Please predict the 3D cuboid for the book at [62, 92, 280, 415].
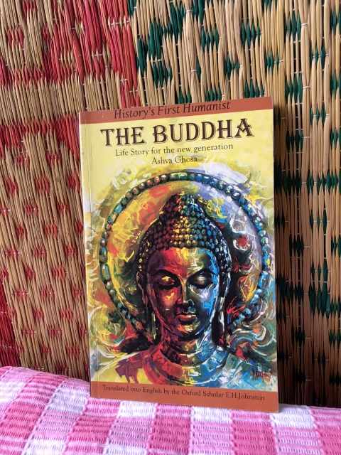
[{"bbox_3d":[0.000,0.018,0.272,0.146,0.207,0.030,-1,2,12],"label":"book"}]
